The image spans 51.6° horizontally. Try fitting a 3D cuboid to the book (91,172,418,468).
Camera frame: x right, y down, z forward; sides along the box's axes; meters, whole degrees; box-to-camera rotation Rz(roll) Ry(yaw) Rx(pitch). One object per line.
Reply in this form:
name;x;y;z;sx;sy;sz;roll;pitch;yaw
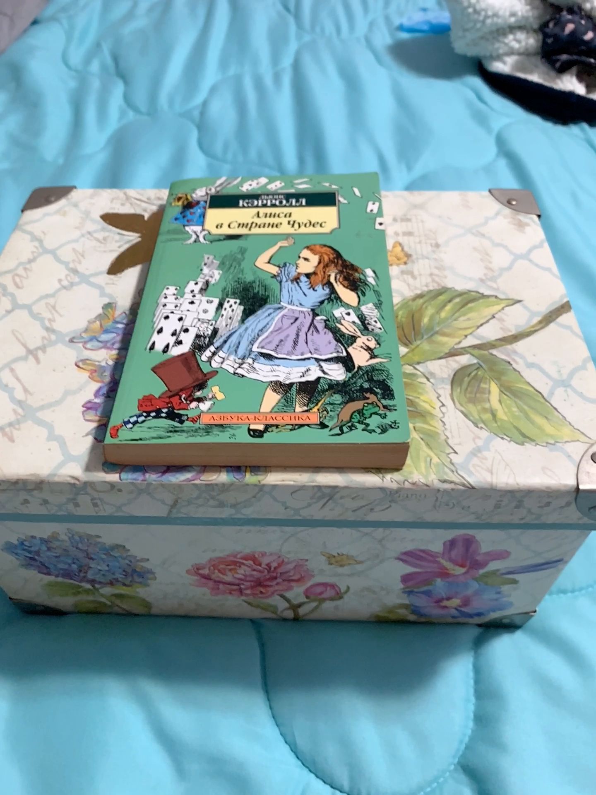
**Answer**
book;-0.016;-0.048;0.287;0.118;0.018;0.180;0;50;0
